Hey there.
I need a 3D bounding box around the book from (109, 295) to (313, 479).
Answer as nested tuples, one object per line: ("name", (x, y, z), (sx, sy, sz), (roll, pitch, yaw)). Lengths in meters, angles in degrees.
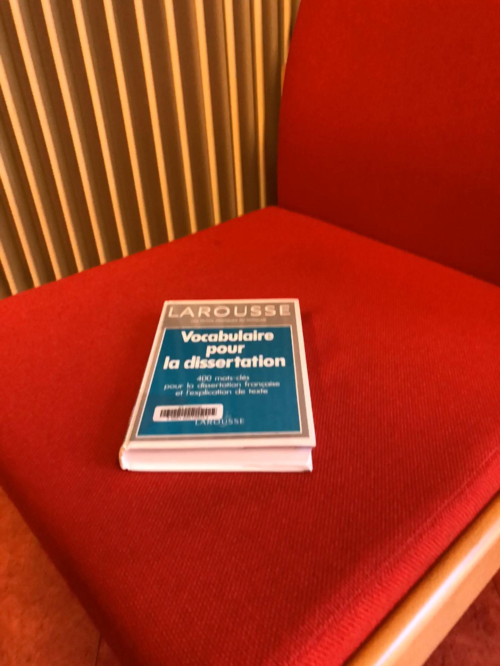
("book", (-0.024, 0.033, 0.459), (0.137, 0.030, 0.199), (-2, 34, 2))
